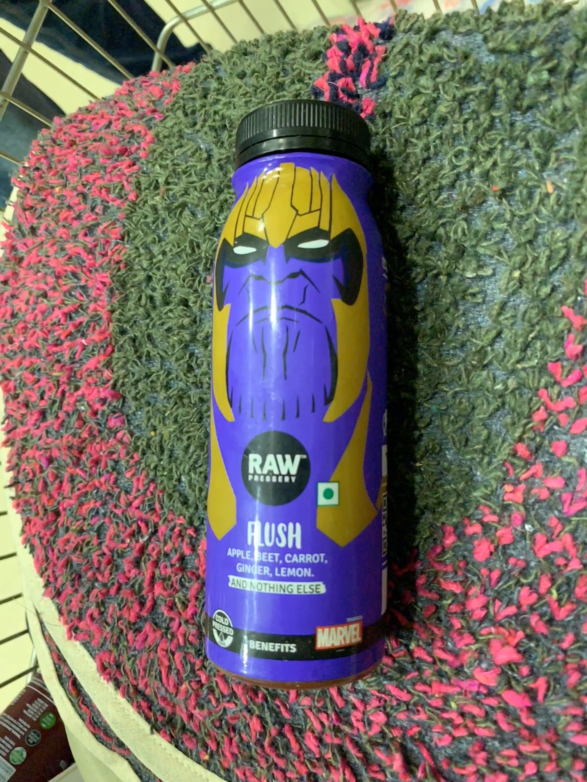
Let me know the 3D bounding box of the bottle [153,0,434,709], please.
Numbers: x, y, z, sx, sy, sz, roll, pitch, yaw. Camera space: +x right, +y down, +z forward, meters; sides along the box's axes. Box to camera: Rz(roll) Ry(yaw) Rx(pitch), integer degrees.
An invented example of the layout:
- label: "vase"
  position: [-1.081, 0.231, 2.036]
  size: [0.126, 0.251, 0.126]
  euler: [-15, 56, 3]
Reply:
- label: "bottle"
  position: [0.004, -0.011, 0.179]
  size: [0.060, 0.050, 0.170]
  euler: [1, 85, 22]
